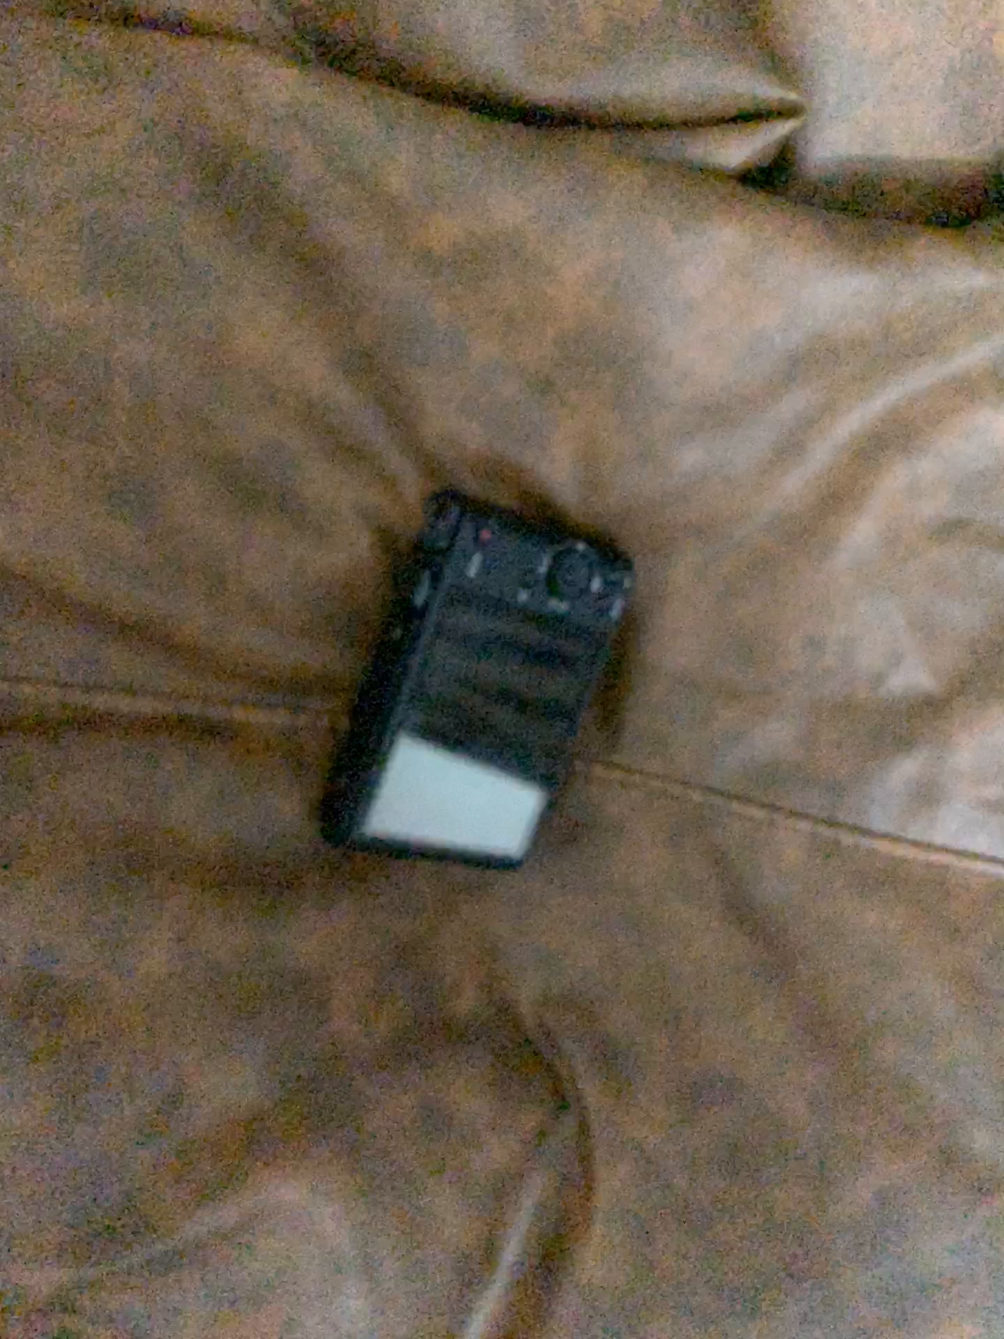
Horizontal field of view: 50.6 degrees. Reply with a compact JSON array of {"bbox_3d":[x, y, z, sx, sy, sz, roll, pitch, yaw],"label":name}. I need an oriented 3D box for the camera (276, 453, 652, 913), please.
[{"bbox_3d":[-0.011,0.005,0.265,0.060,0.024,0.100,16,99,-23],"label":"camera"}]
